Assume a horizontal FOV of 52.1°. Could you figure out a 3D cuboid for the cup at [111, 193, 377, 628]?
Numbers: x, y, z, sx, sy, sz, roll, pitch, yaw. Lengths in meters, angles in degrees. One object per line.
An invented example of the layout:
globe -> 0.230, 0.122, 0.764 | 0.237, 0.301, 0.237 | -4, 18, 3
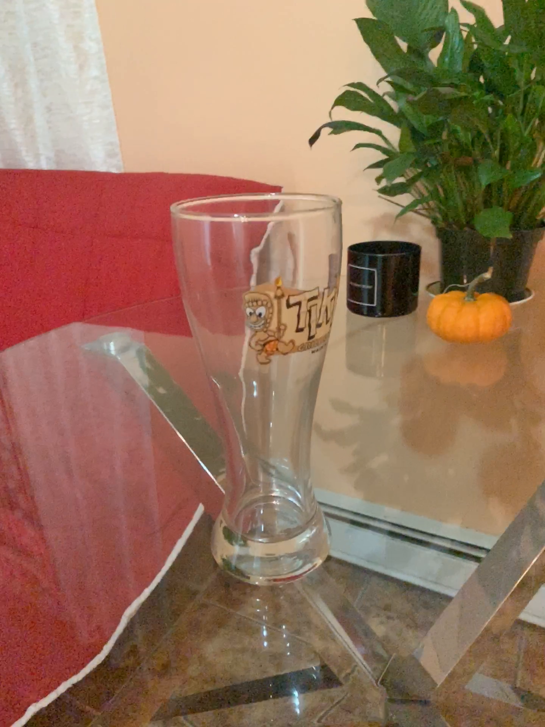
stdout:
cup -> -0.009, 0.018, 0.319 | 0.100, 0.211, 0.093 | -1, 21, 0
